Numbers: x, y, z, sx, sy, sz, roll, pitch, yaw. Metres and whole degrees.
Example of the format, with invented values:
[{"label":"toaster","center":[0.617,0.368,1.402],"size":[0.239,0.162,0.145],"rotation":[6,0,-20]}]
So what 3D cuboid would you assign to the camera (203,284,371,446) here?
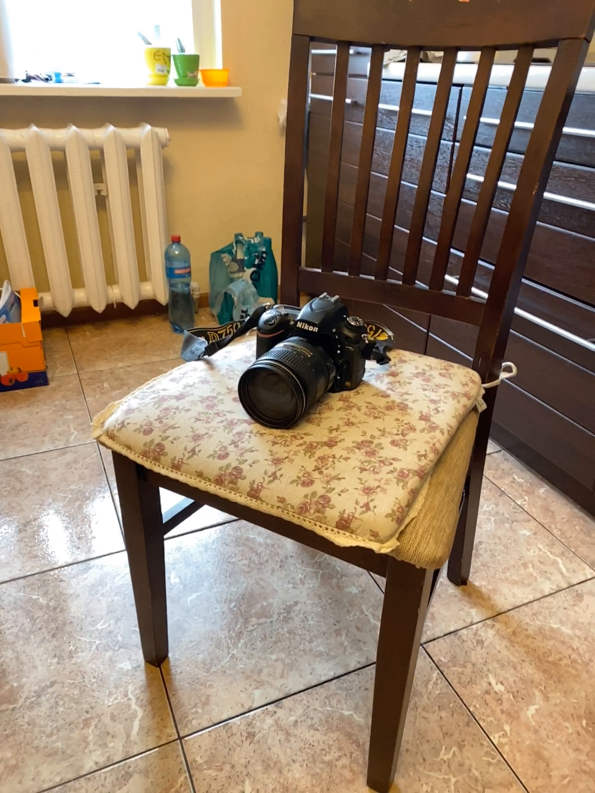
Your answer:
[{"label":"camera","center":[-0.009,-0.047,0.729],"size":[0.135,0.119,0.164],"rotation":[14,30,23]}]
